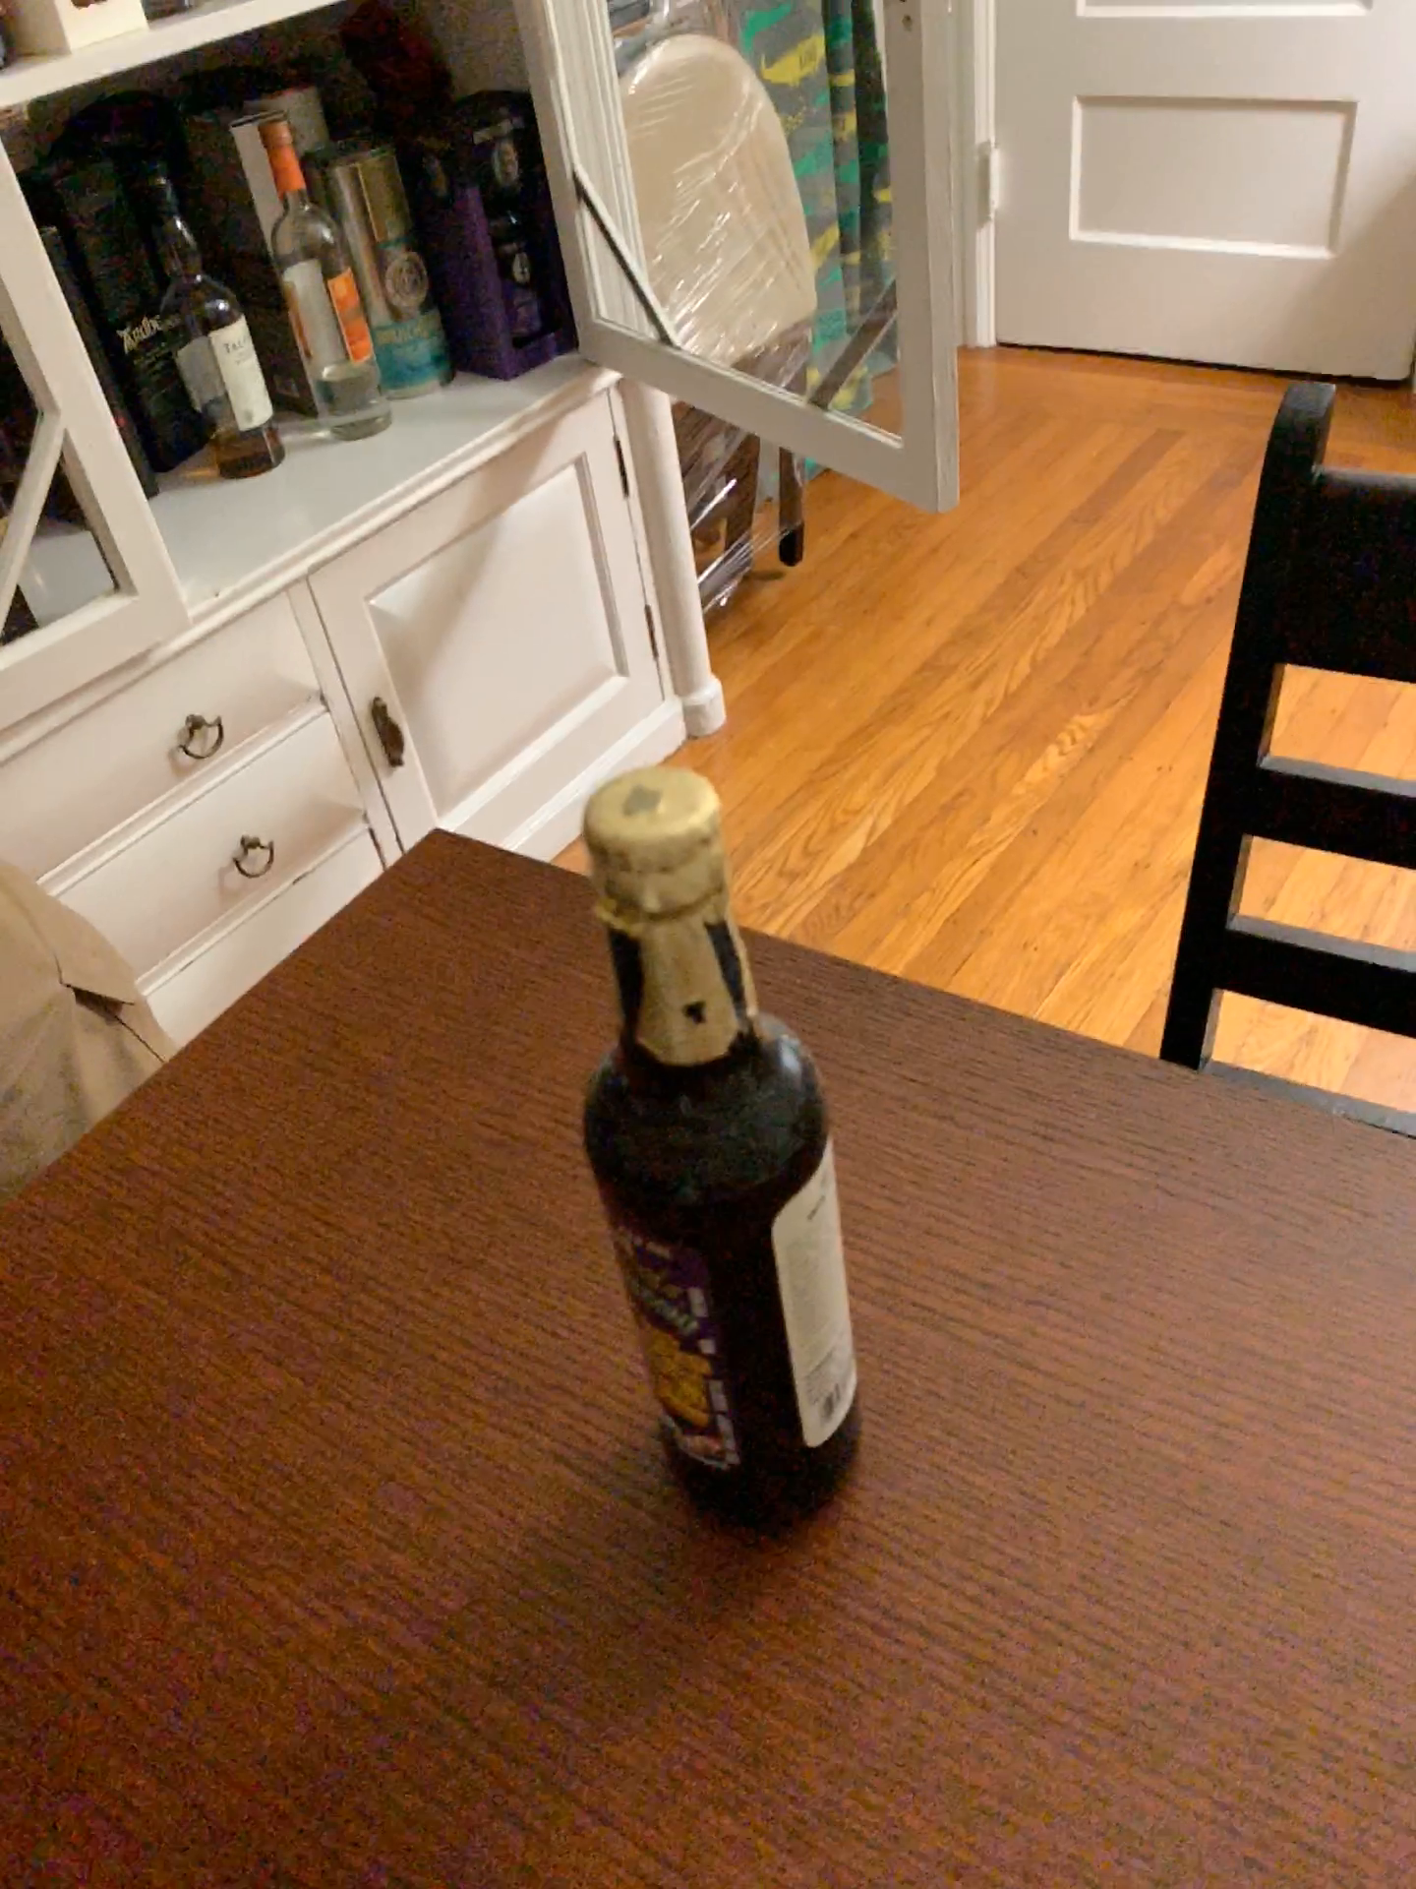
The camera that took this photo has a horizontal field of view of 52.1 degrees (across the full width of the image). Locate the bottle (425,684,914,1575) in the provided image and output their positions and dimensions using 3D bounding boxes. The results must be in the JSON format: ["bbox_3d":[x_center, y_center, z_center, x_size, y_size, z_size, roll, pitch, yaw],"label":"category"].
[{"bbox_3d":[0.007,0.057,0.339,0.070,0.229,0.070,-5,42,5],"label":"bottle"}]
